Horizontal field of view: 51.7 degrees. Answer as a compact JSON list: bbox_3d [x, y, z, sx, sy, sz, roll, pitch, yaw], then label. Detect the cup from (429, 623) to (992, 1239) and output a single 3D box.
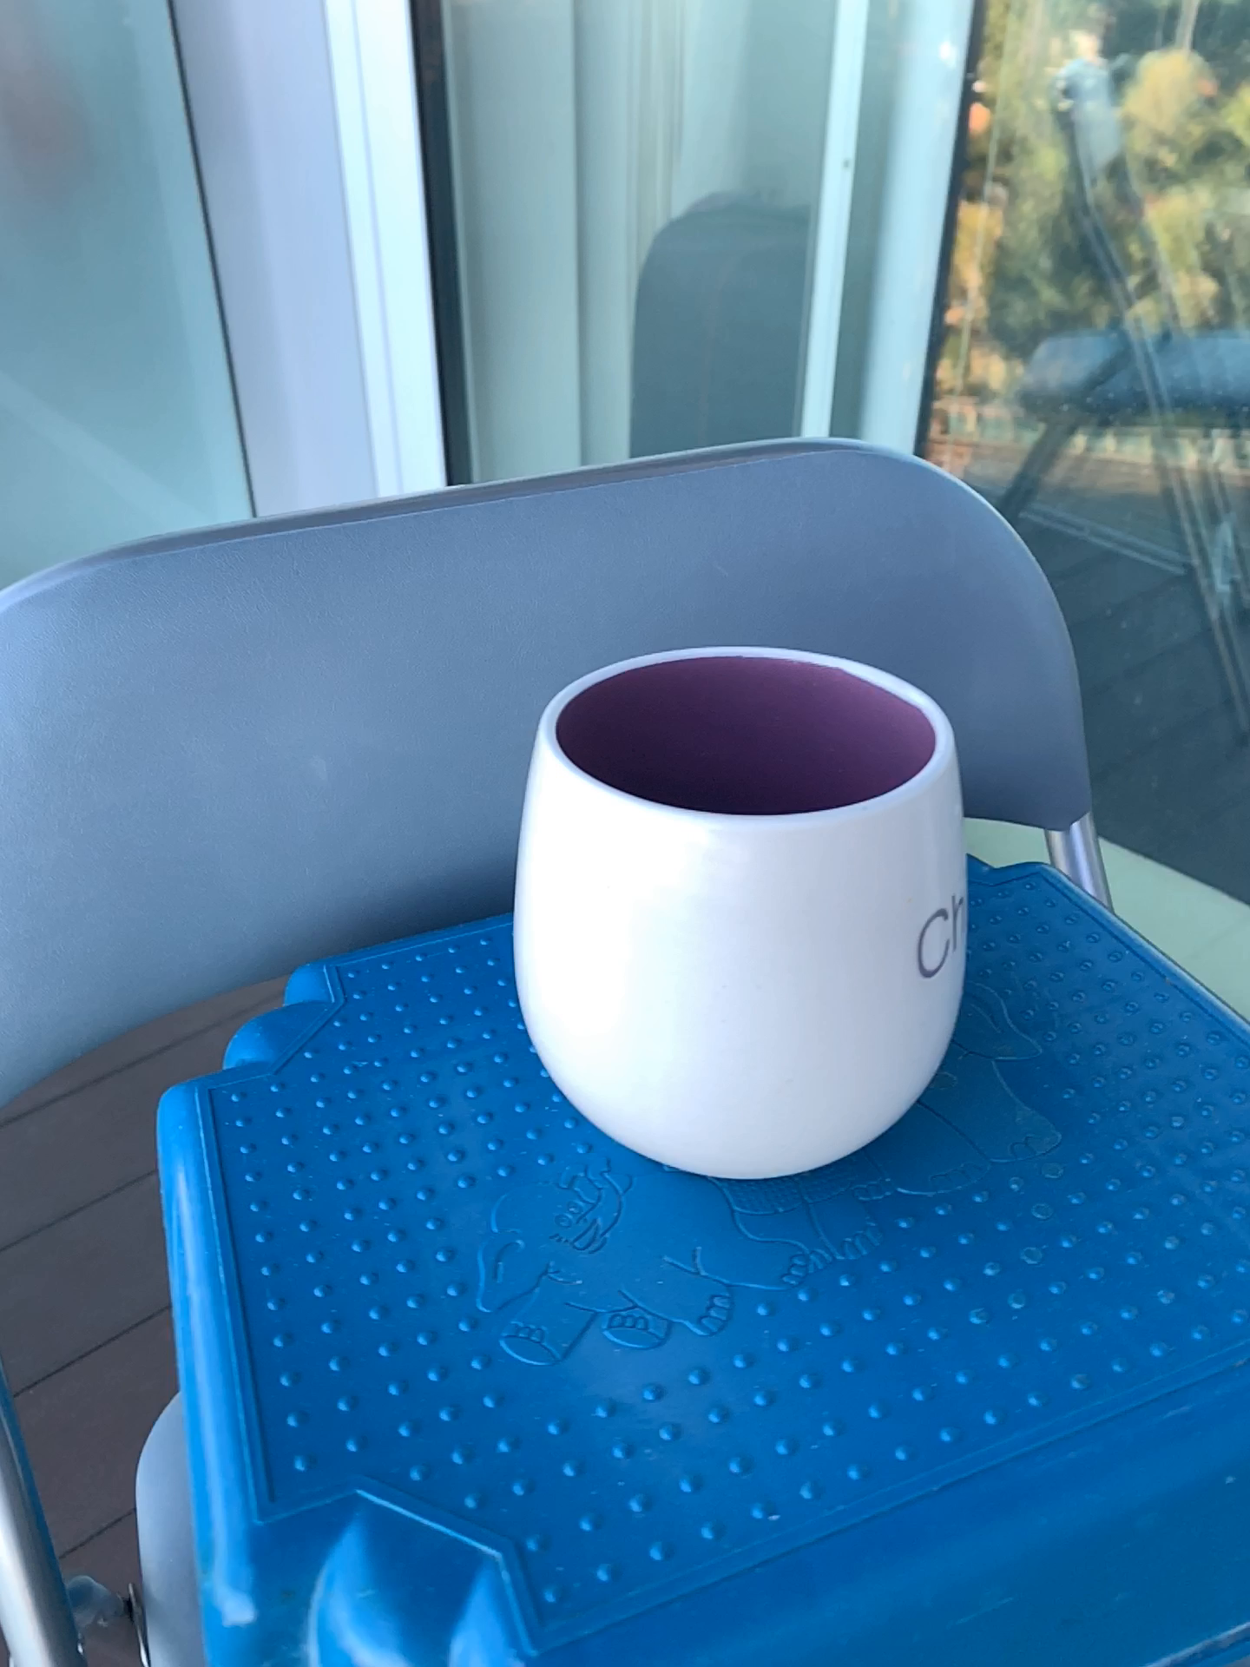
[{"bbox_3d":[0.022,0.016,0.309,0.104,0.090,0.111,1,31,0],"label":"cup"}]
